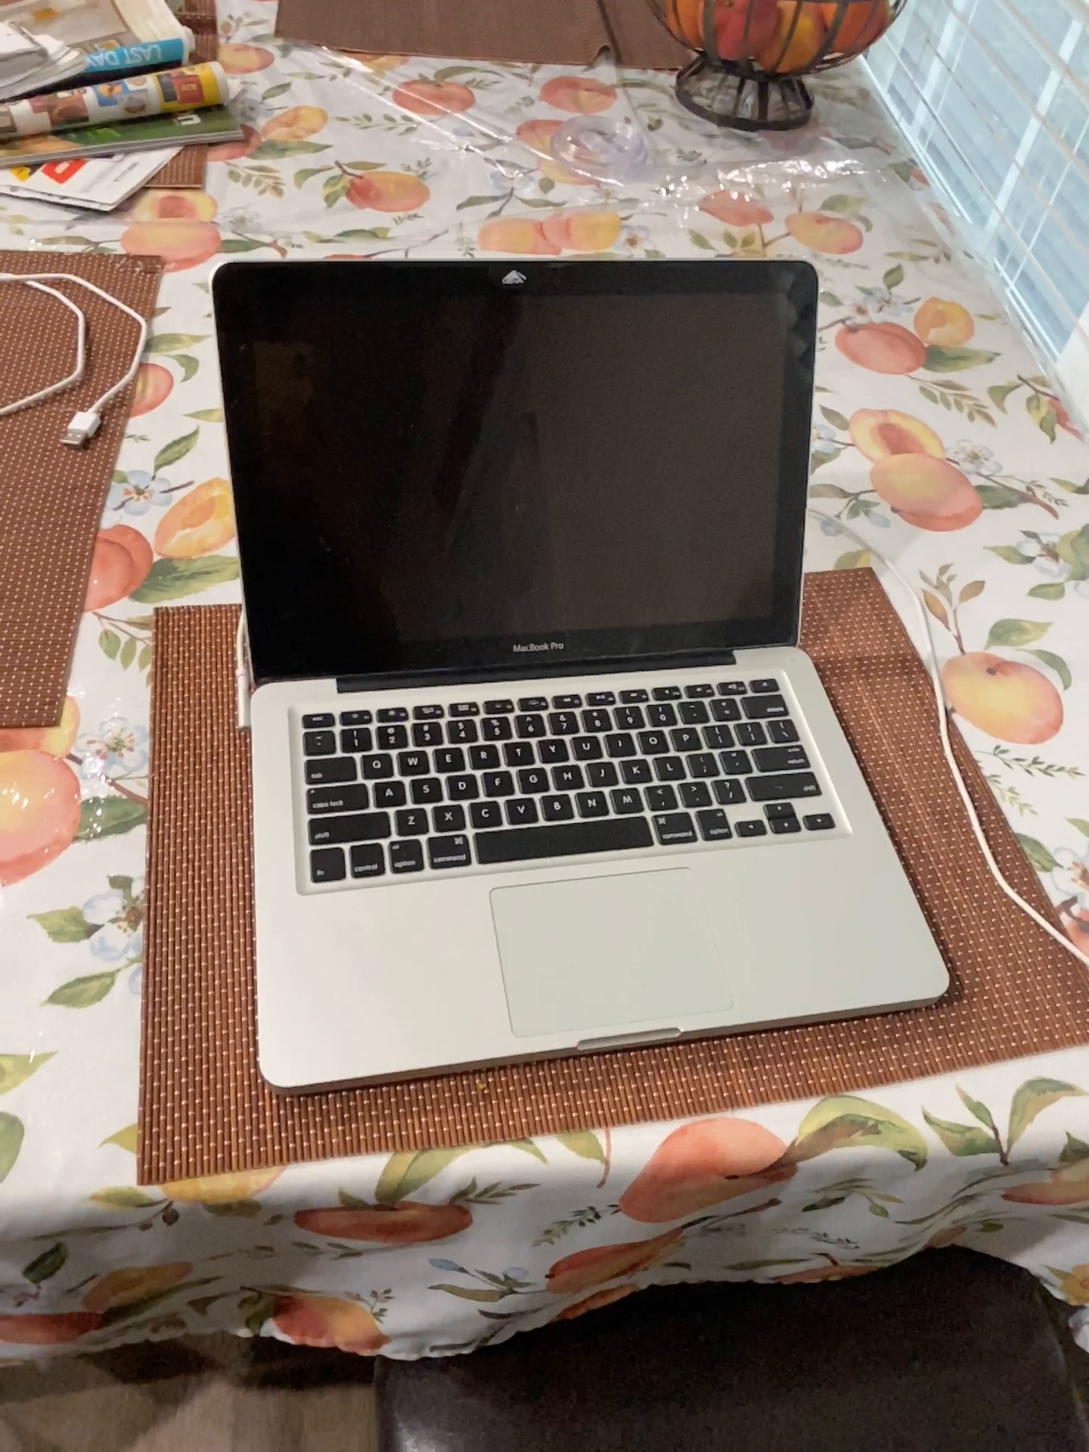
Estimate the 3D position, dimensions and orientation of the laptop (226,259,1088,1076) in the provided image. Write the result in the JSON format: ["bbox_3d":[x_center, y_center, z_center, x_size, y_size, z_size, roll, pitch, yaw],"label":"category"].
[{"bbox_3d":[0.020,-0.053,0.540,0.317,0.162,0.350,-5,53,-10],"label":"laptop"}]
